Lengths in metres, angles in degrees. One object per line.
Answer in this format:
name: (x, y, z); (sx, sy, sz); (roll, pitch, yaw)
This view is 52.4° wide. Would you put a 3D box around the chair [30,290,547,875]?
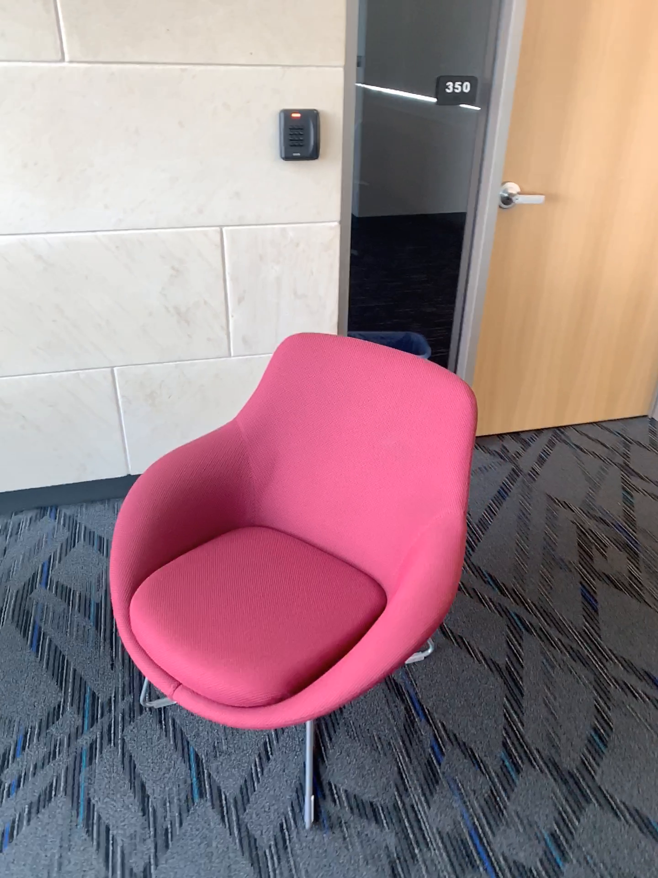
chair: (-0.067, 0.206, 1.380); (0.692, 0.754, 0.613); (22, 36, 31)
